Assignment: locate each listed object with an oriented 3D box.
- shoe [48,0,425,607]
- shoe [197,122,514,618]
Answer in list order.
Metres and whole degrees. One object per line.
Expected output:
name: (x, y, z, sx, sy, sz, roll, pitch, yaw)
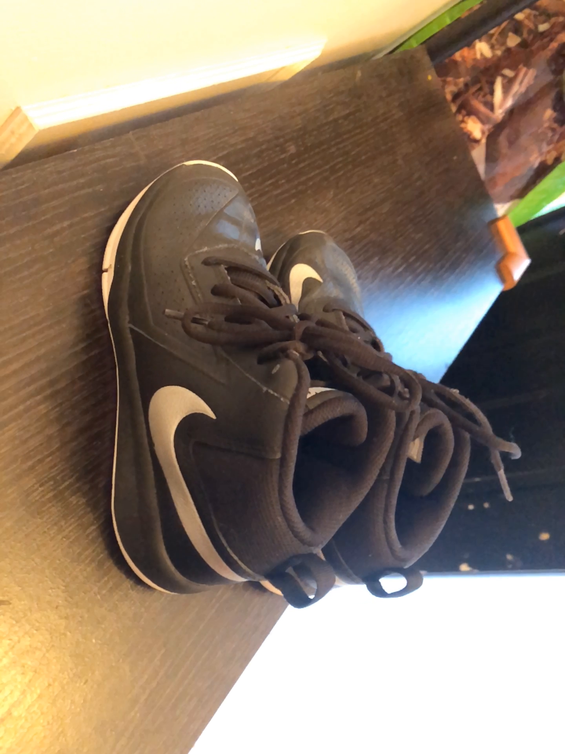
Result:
shoe: (-0.026, -0.029, 0.307, 0.100, 0.129, 0.260, 15, 66, -43)
shoe: (0.041, 0.006, 0.371, 0.100, 0.129, 0.250, 22, 61, -40)
